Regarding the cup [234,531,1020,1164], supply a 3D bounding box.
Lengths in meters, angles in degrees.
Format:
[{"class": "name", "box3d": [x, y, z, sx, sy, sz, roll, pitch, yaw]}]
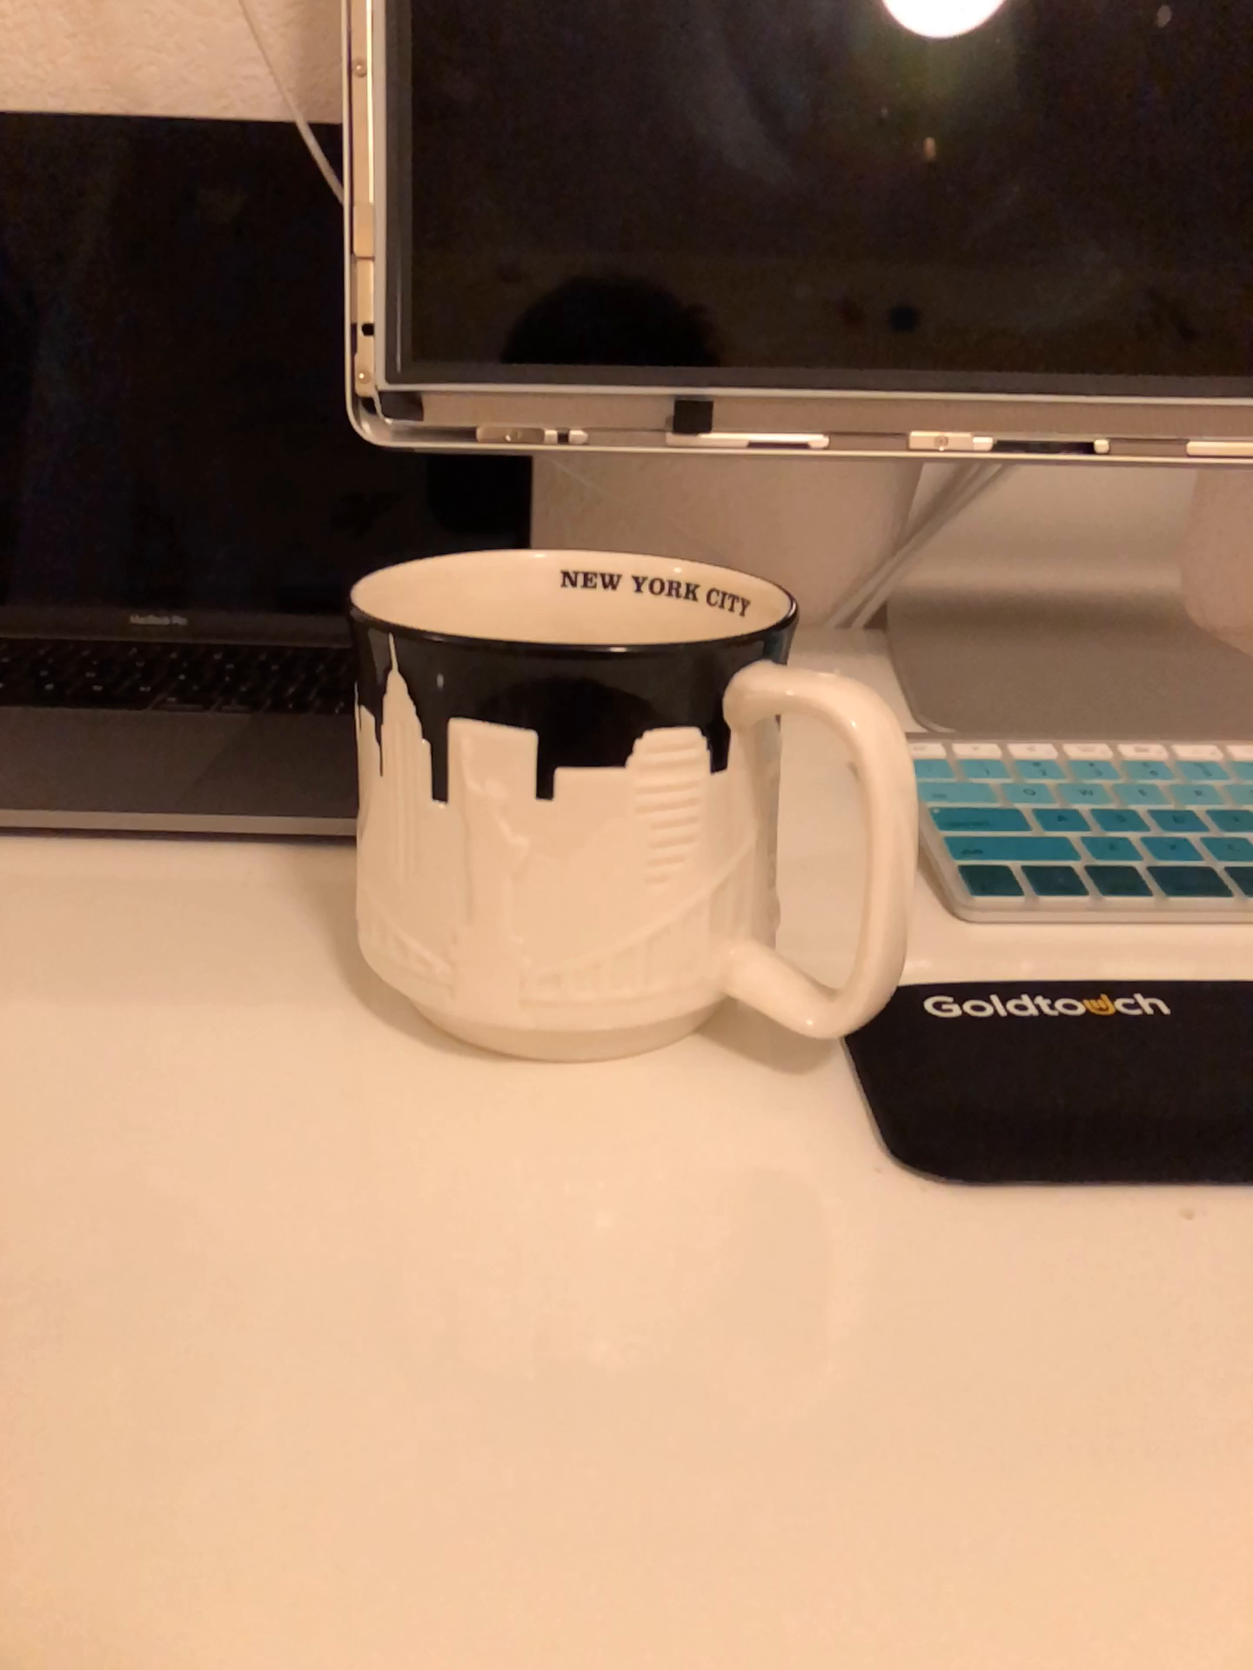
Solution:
[{"class": "cup", "box3d": [0.003, -0.010, 0.325, 0.140, 0.090, 0.110, 13, 25, 25]}]
